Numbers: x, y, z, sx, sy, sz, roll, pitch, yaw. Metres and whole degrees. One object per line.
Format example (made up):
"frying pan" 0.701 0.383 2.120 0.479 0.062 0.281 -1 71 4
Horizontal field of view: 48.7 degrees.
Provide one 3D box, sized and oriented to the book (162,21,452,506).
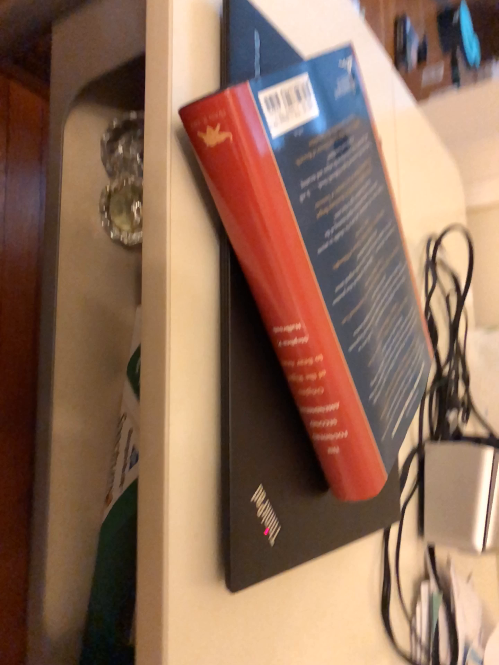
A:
"book" 0.060 -0.048 0.333 0.171 0.040 0.240 -49 122 -50
